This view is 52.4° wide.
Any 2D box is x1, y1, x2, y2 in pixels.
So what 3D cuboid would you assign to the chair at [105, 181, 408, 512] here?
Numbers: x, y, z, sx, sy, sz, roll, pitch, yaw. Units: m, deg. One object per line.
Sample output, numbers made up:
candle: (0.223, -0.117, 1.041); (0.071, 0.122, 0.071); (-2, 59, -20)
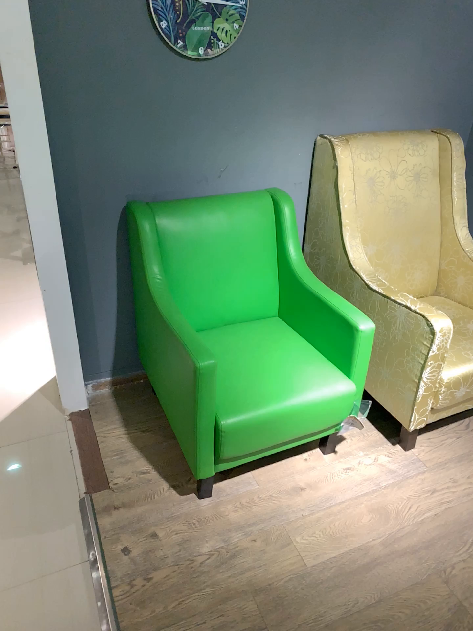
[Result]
chair: (-0.005, 0.028, 1.783); (0.710, 0.787, 0.813); (-12, 33, -23)
